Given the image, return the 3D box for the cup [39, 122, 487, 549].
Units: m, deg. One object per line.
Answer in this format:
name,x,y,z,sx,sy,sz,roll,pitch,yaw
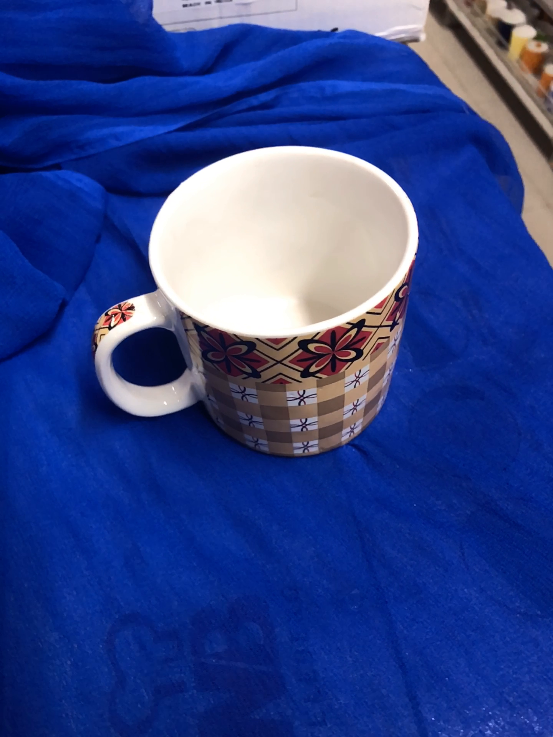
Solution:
cup,-0.007,-0.007,0.204,0.100,0.099,0.070,-16,57,-12
